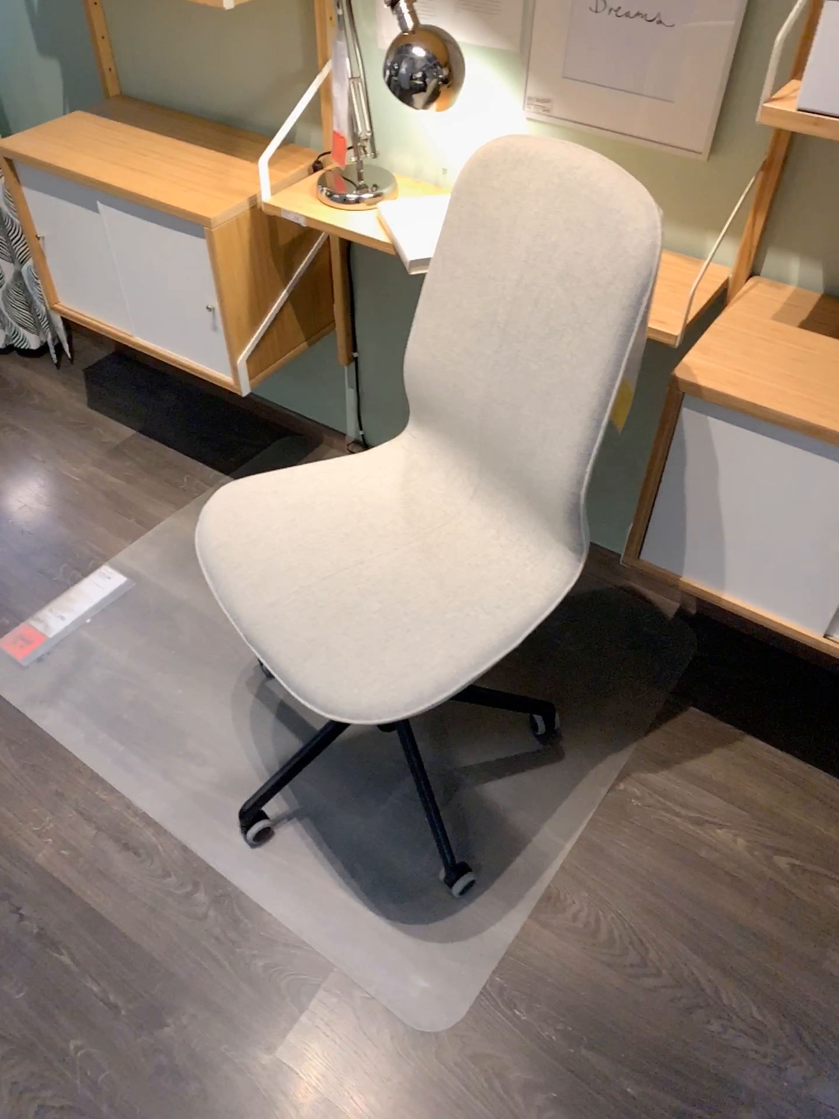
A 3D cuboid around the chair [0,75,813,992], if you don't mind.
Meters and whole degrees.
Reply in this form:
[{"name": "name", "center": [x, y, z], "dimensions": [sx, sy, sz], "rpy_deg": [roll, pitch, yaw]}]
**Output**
[{"name": "chair", "center": [-0.062, -0.017, 1.203], "dimensions": [0.621, 0.966, 0.622], "rpy_deg": [-26, 51, -24]}]
